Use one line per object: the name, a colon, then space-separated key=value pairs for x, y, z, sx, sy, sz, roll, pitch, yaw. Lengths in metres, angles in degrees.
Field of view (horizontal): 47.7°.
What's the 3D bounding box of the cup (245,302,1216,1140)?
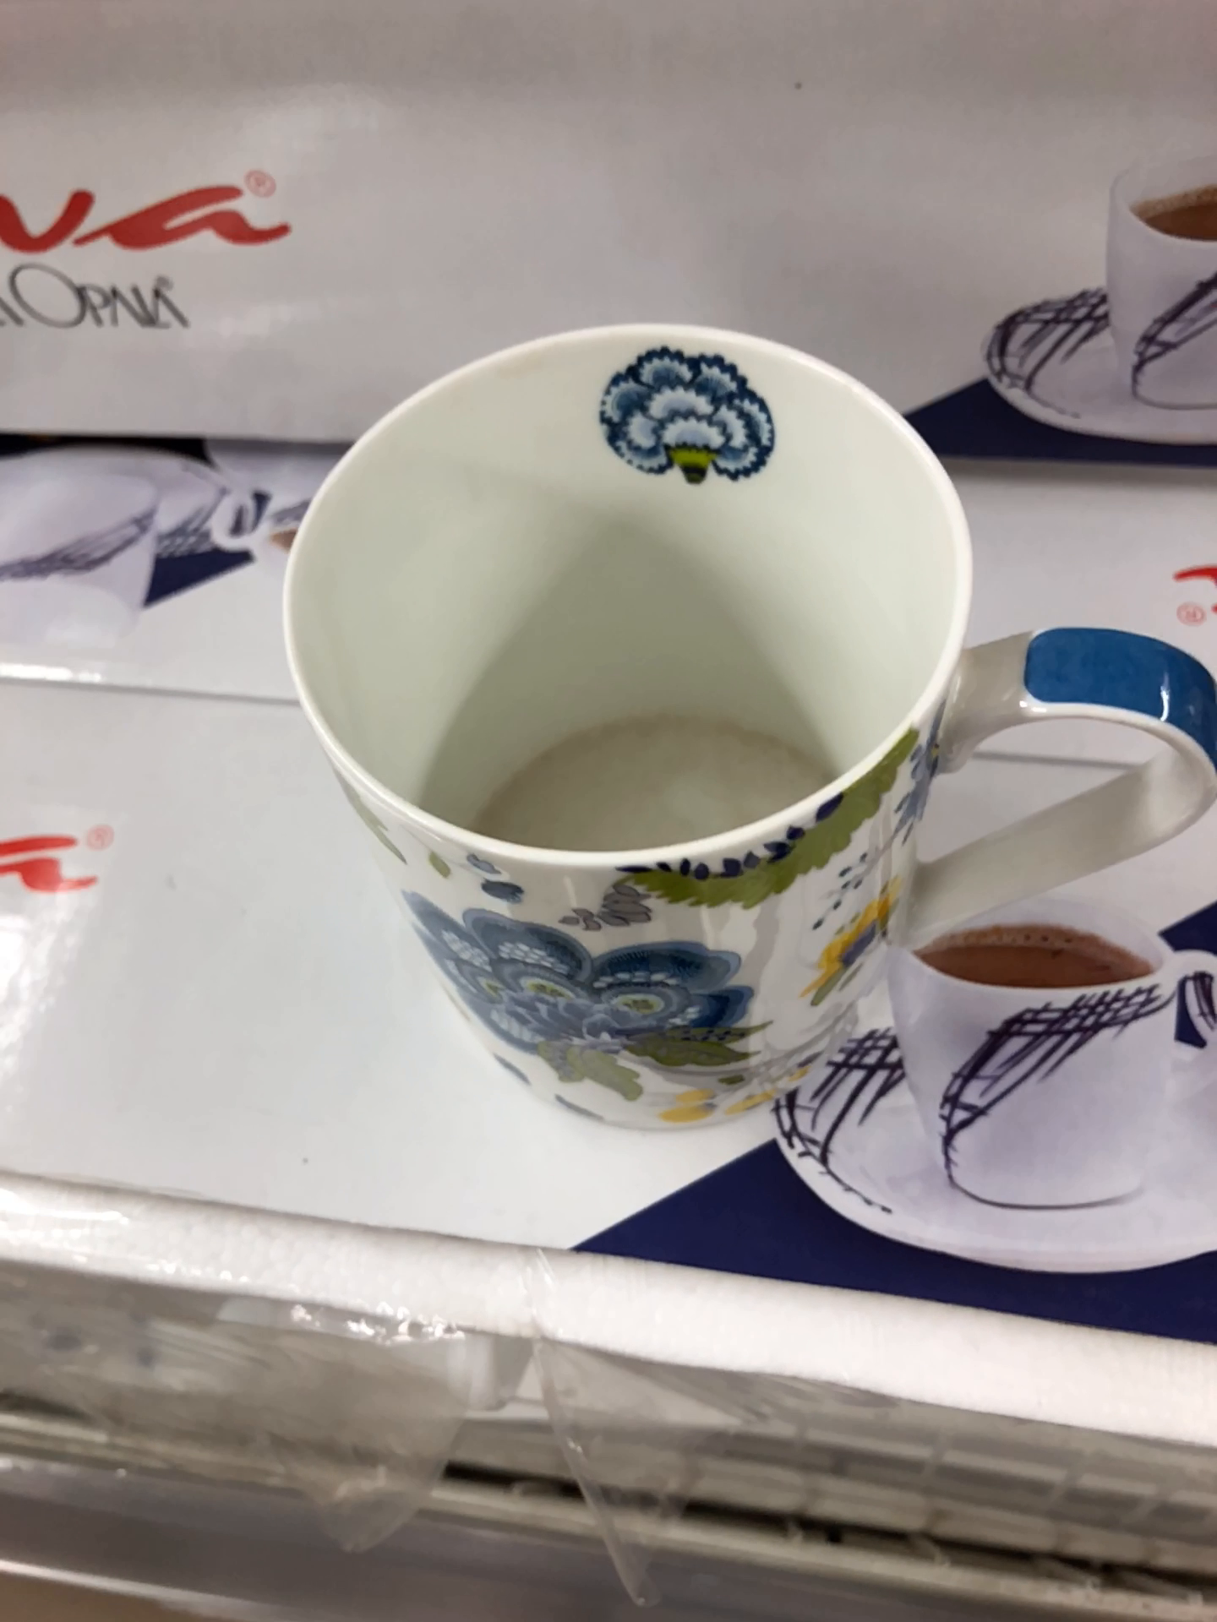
cup: x=0.021 y=-0.005 z=0.182 sx=0.100 sy=0.090 sz=0.070 roll=0 pitch=61 yaw=6
